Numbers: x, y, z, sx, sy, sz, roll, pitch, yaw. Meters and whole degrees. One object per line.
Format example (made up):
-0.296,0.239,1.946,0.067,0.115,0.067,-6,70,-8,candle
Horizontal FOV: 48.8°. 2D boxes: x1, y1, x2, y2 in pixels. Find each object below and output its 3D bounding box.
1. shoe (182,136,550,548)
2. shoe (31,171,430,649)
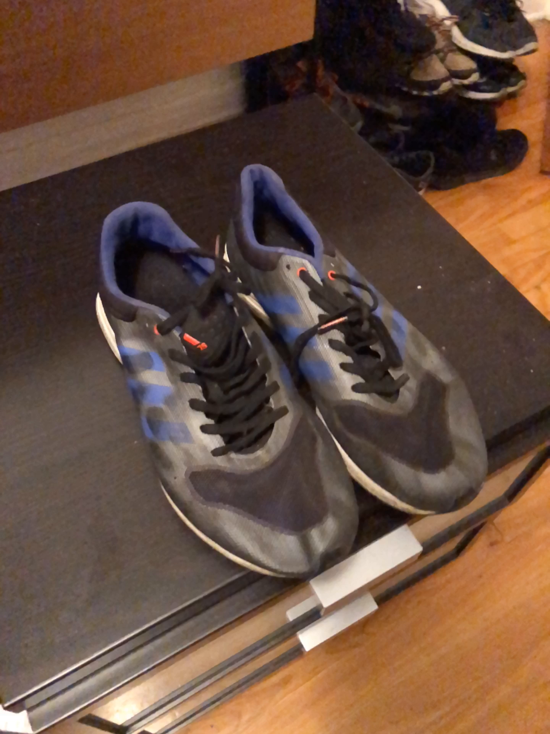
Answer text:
0.050,-0.040,0.432,0.110,0.070,0.301,-24,58,-17,shoe
-0.042,0.006,0.369,0.110,0.079,0.271,-24,58,-17,shoe
